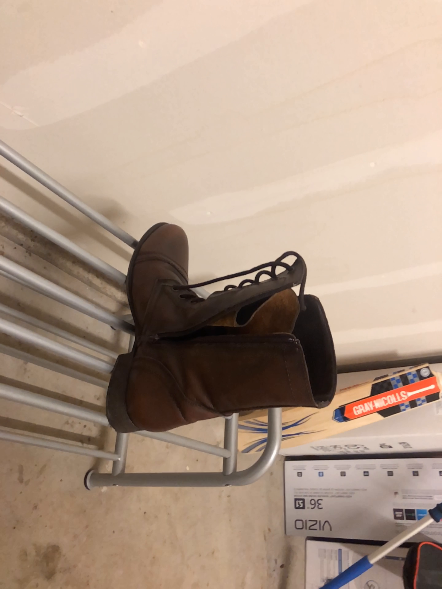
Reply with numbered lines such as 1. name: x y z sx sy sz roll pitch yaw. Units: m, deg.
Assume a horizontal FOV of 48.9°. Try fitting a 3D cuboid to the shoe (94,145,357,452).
1. shoe: 0.012 0.016 0.559 0.122 0.237 0.287 39 47 -45
